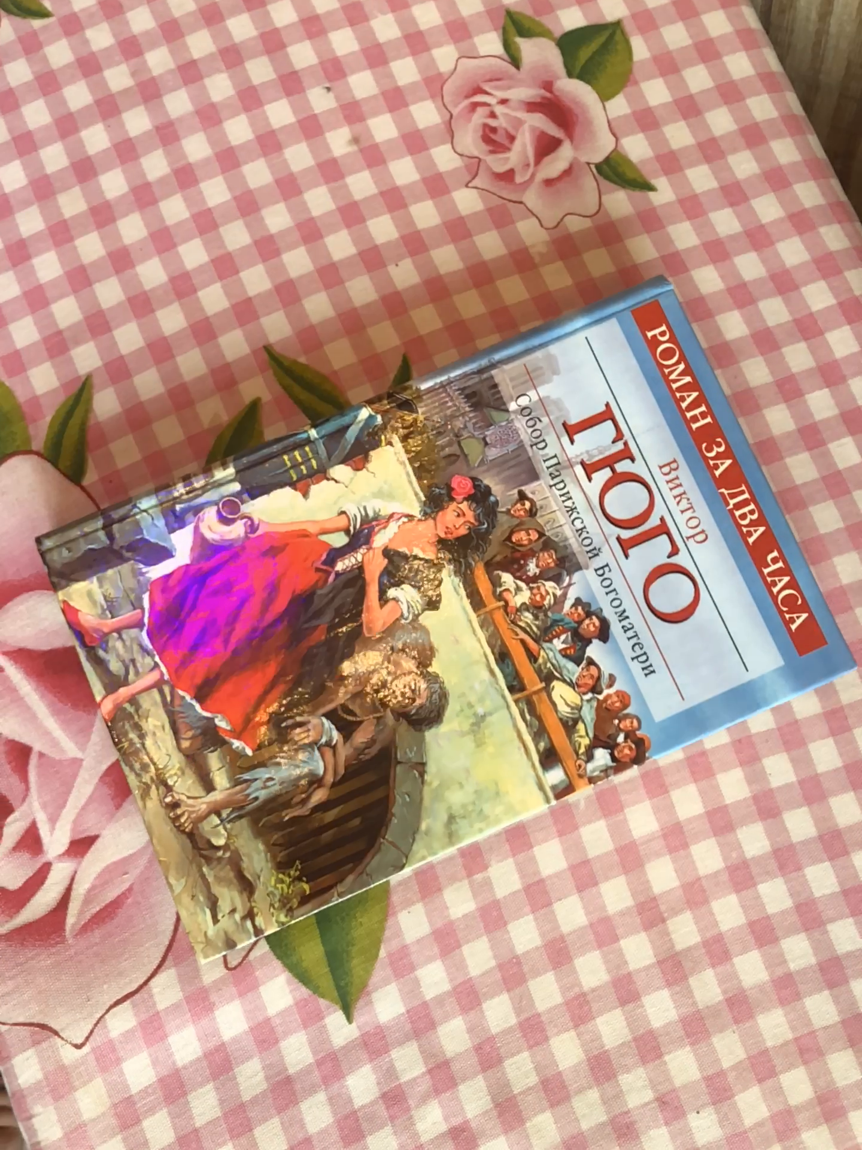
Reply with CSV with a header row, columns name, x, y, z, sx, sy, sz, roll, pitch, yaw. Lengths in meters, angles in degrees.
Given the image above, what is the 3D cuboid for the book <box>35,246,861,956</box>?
name,x,y,z,sx,sy,sz,roll,pitch,yaw
book,0.007,0.004,0.290,0.207,0.028,0.136,-23,83,-4
